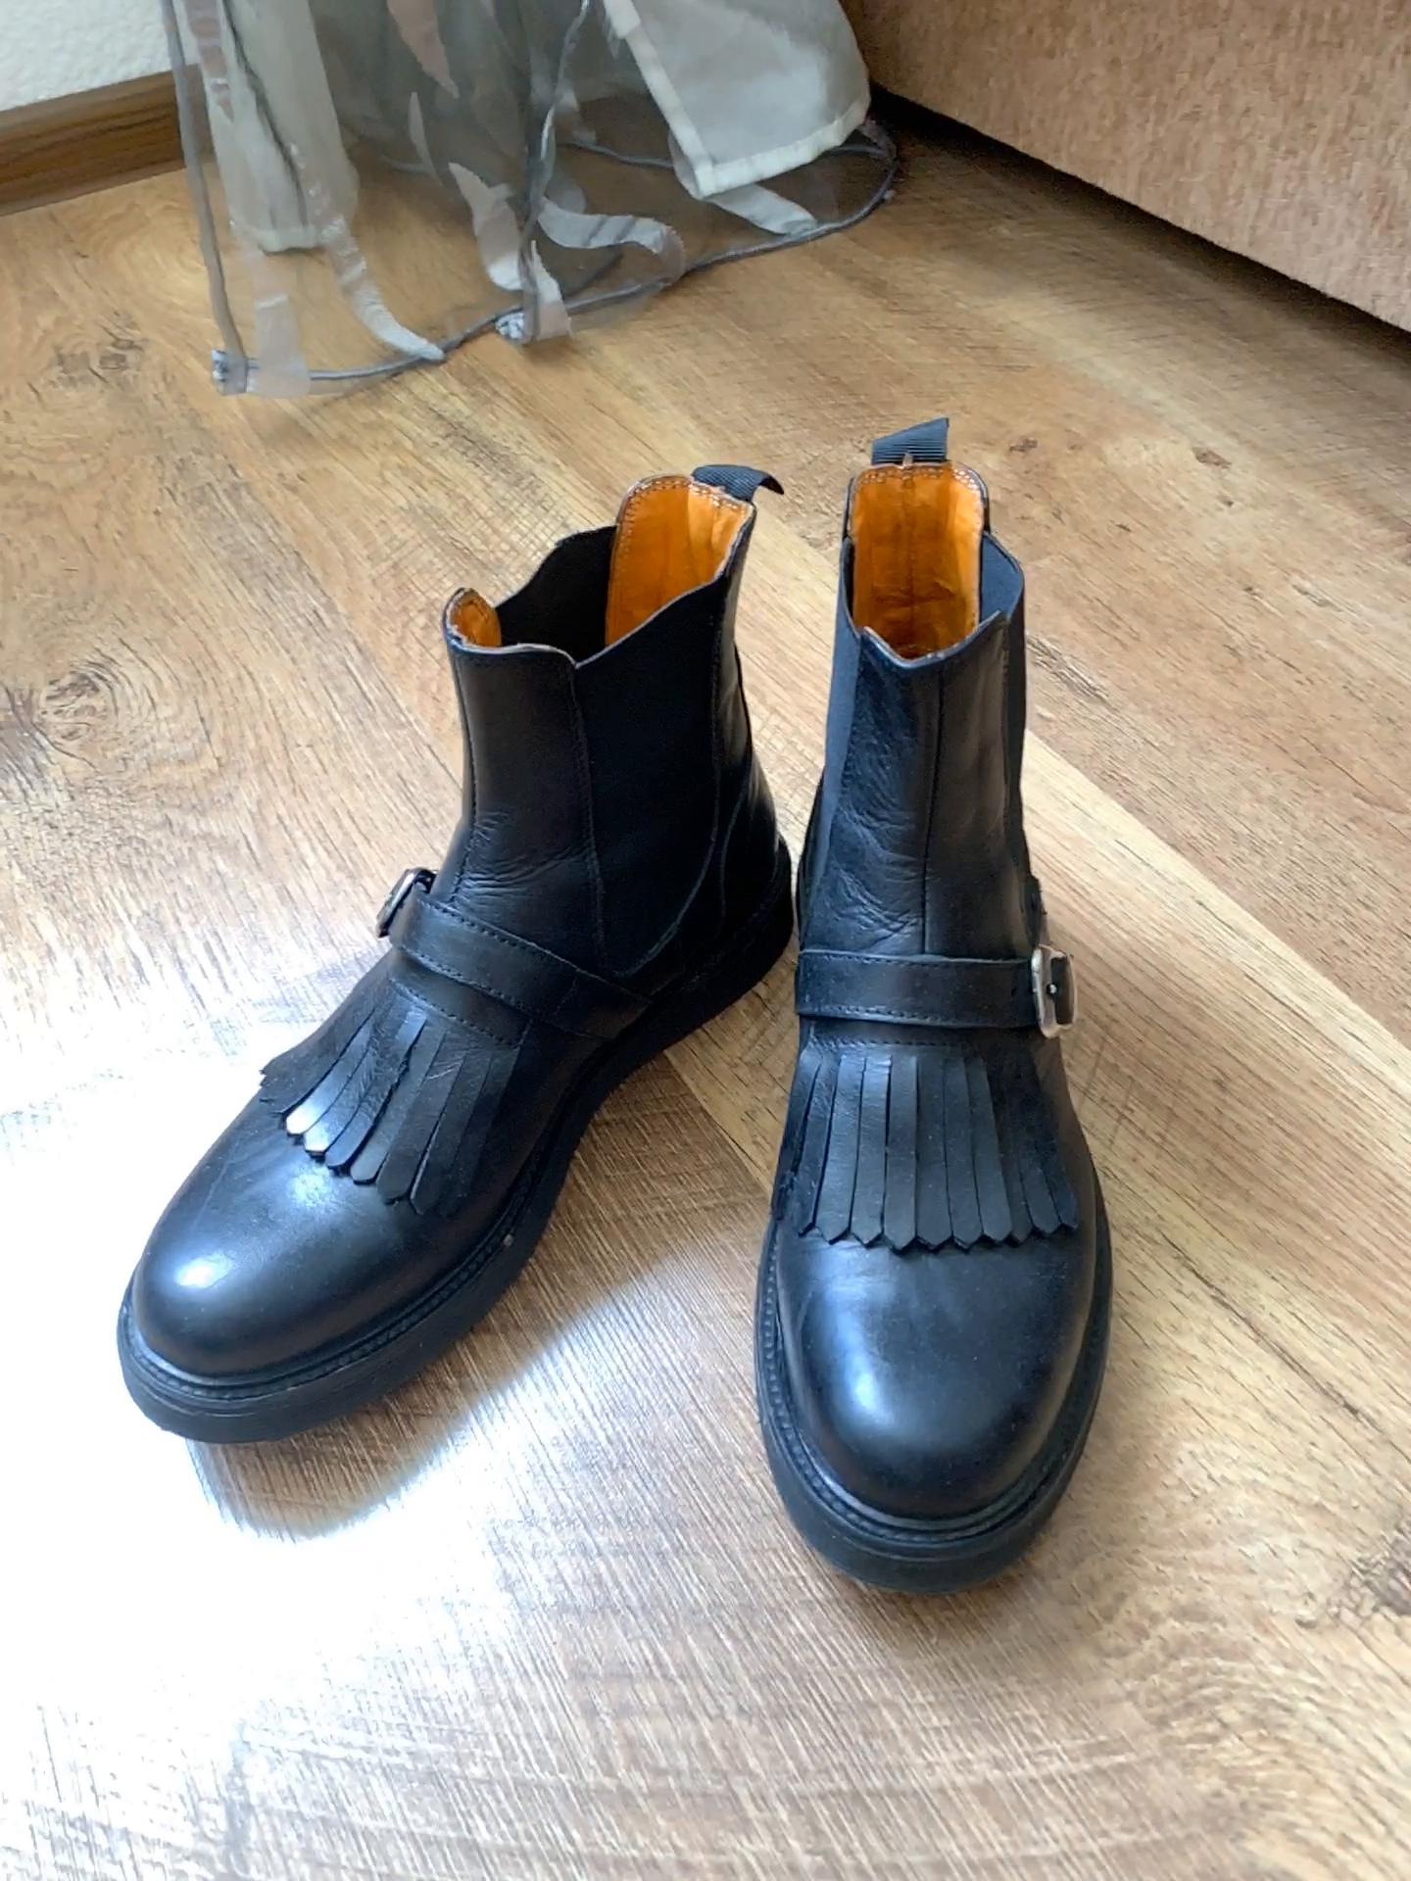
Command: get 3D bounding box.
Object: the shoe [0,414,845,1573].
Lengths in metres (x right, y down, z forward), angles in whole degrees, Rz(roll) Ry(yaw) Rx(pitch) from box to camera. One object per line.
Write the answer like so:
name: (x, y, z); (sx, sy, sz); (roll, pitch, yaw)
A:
shoe: (-0.070, 0.002, 0.379); (0.090, 0.151, 0.261); (25, 55, 25)

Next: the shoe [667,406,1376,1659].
shoe: (0.061, 0.007, 0.350); (0.100, 0.149, 0.261); (1, 48, 6)
